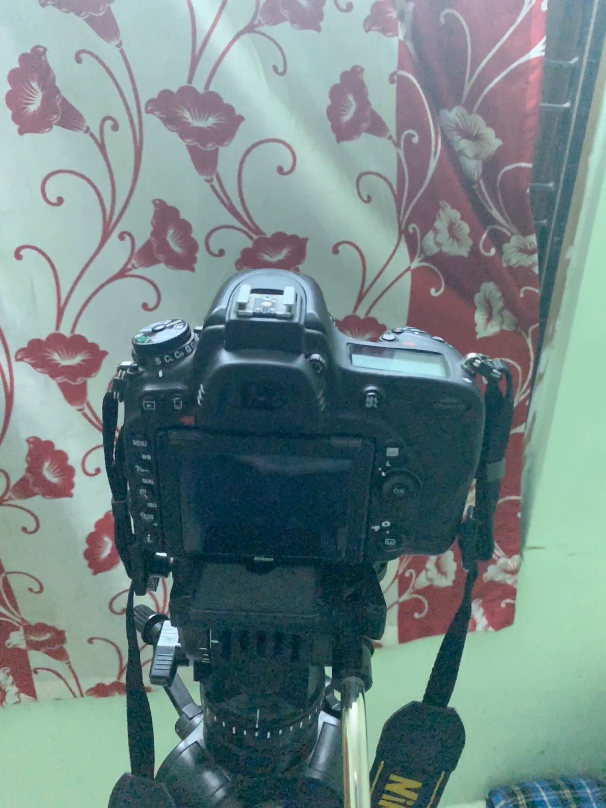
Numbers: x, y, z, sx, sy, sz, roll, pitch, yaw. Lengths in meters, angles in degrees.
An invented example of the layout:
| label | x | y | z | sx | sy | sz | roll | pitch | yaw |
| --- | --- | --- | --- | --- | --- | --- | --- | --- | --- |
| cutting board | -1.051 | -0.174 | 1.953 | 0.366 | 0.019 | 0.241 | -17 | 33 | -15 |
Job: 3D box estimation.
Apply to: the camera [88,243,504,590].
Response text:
| label | x | y | z | sx | sy | sz | roll | pitch | yaw |
| --- | --- | --- | --- | --- | --- | --- | --- | --- | --- |
| camera | -0.004 | -0.005 | 0.289 | 0.139 | 0.112 | 0.130 | 3 | 22 | -1 |
